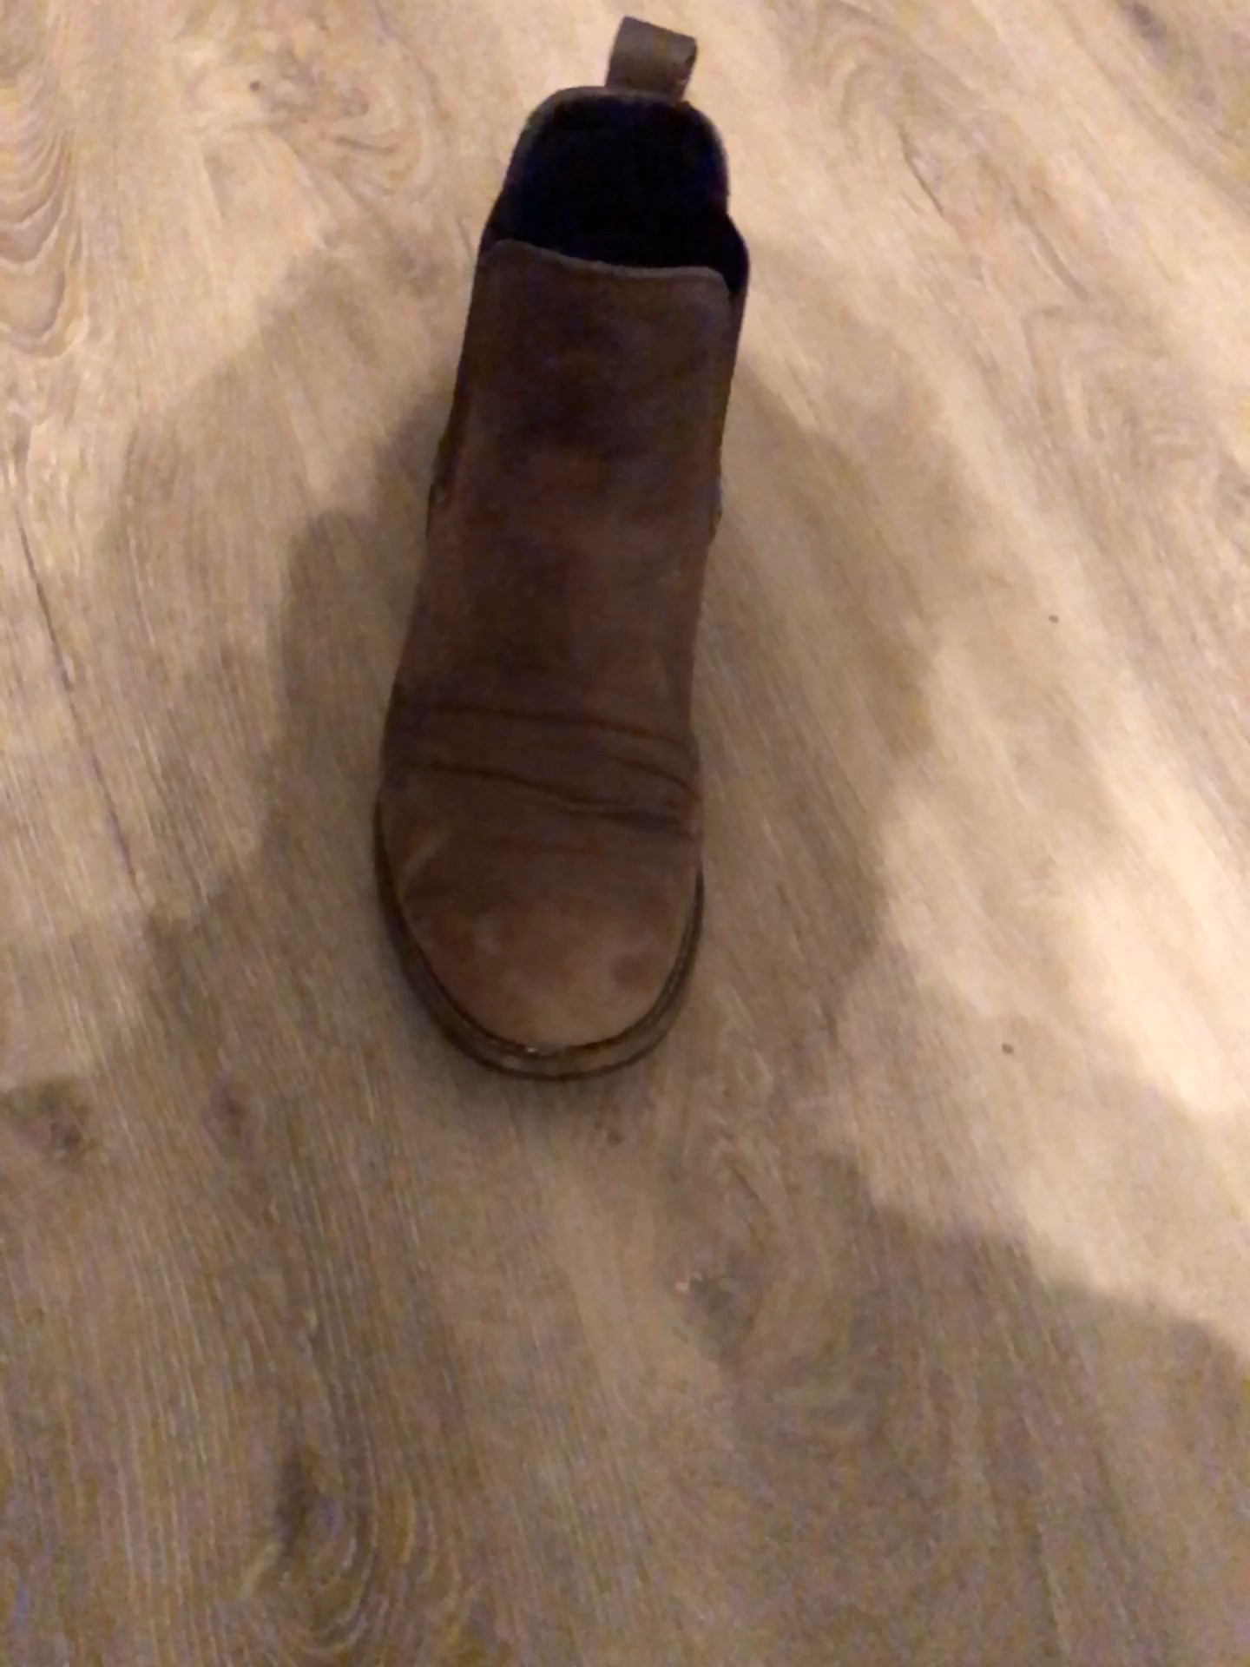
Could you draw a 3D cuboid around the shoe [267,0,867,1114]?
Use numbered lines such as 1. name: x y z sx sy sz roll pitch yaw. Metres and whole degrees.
1. shoe: -0.017 -0.071 0.350 0.100 0.140 0.241 5 61 -7
